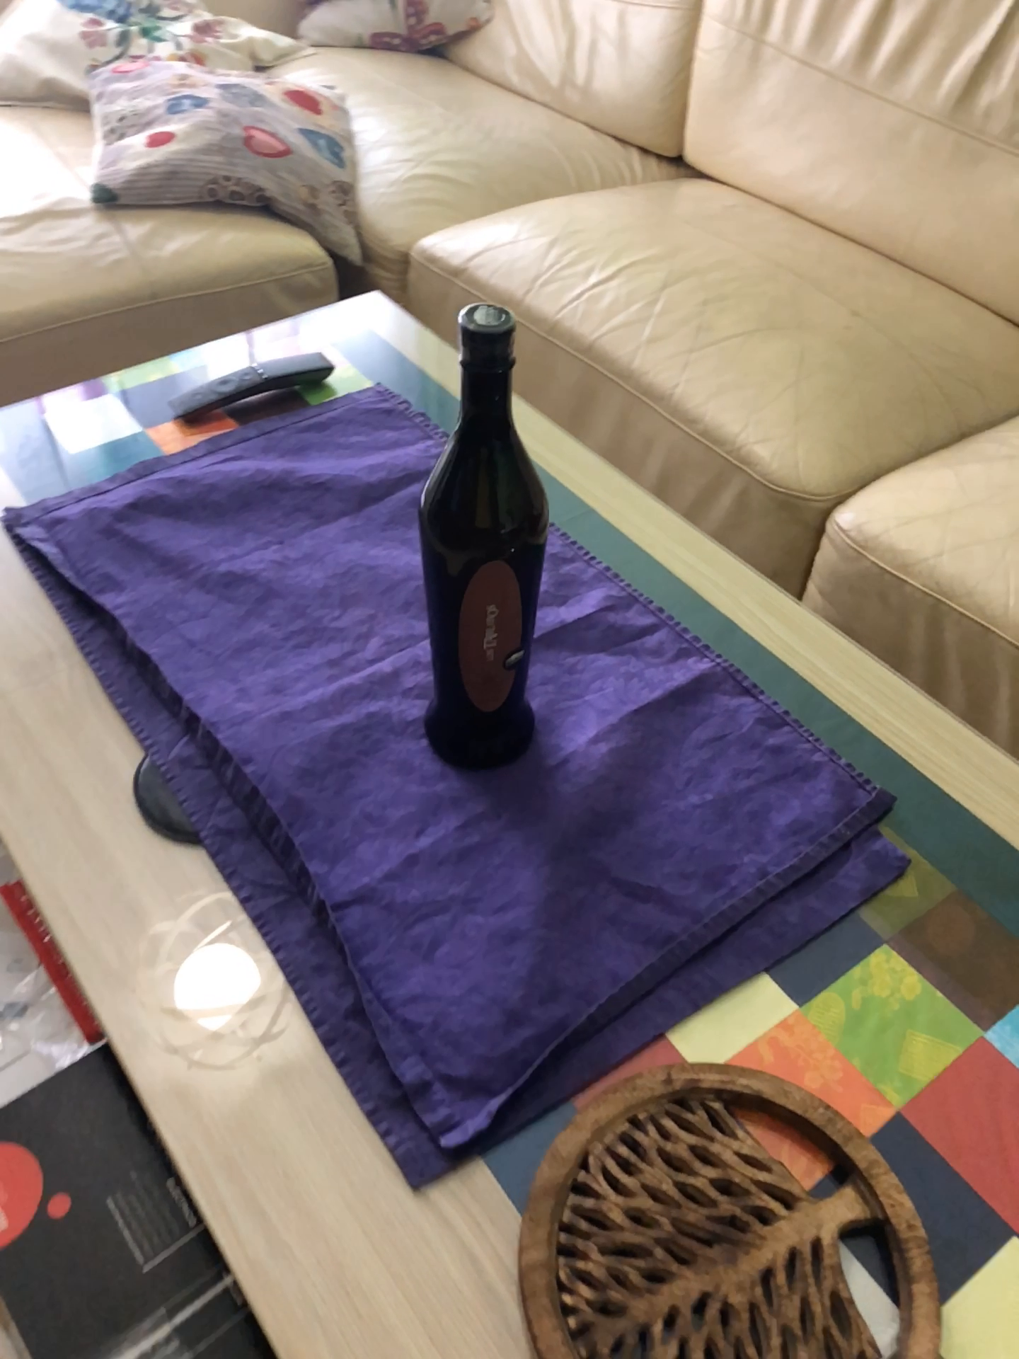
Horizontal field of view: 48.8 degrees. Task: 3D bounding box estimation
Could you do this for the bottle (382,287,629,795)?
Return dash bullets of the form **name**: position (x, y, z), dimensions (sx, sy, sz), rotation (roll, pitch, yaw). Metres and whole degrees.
- **bottle**: position (-0.009, -0.068, 0.652), dimensions (0.100, 0.279, 0.100), rotation (1, 45, -1)
